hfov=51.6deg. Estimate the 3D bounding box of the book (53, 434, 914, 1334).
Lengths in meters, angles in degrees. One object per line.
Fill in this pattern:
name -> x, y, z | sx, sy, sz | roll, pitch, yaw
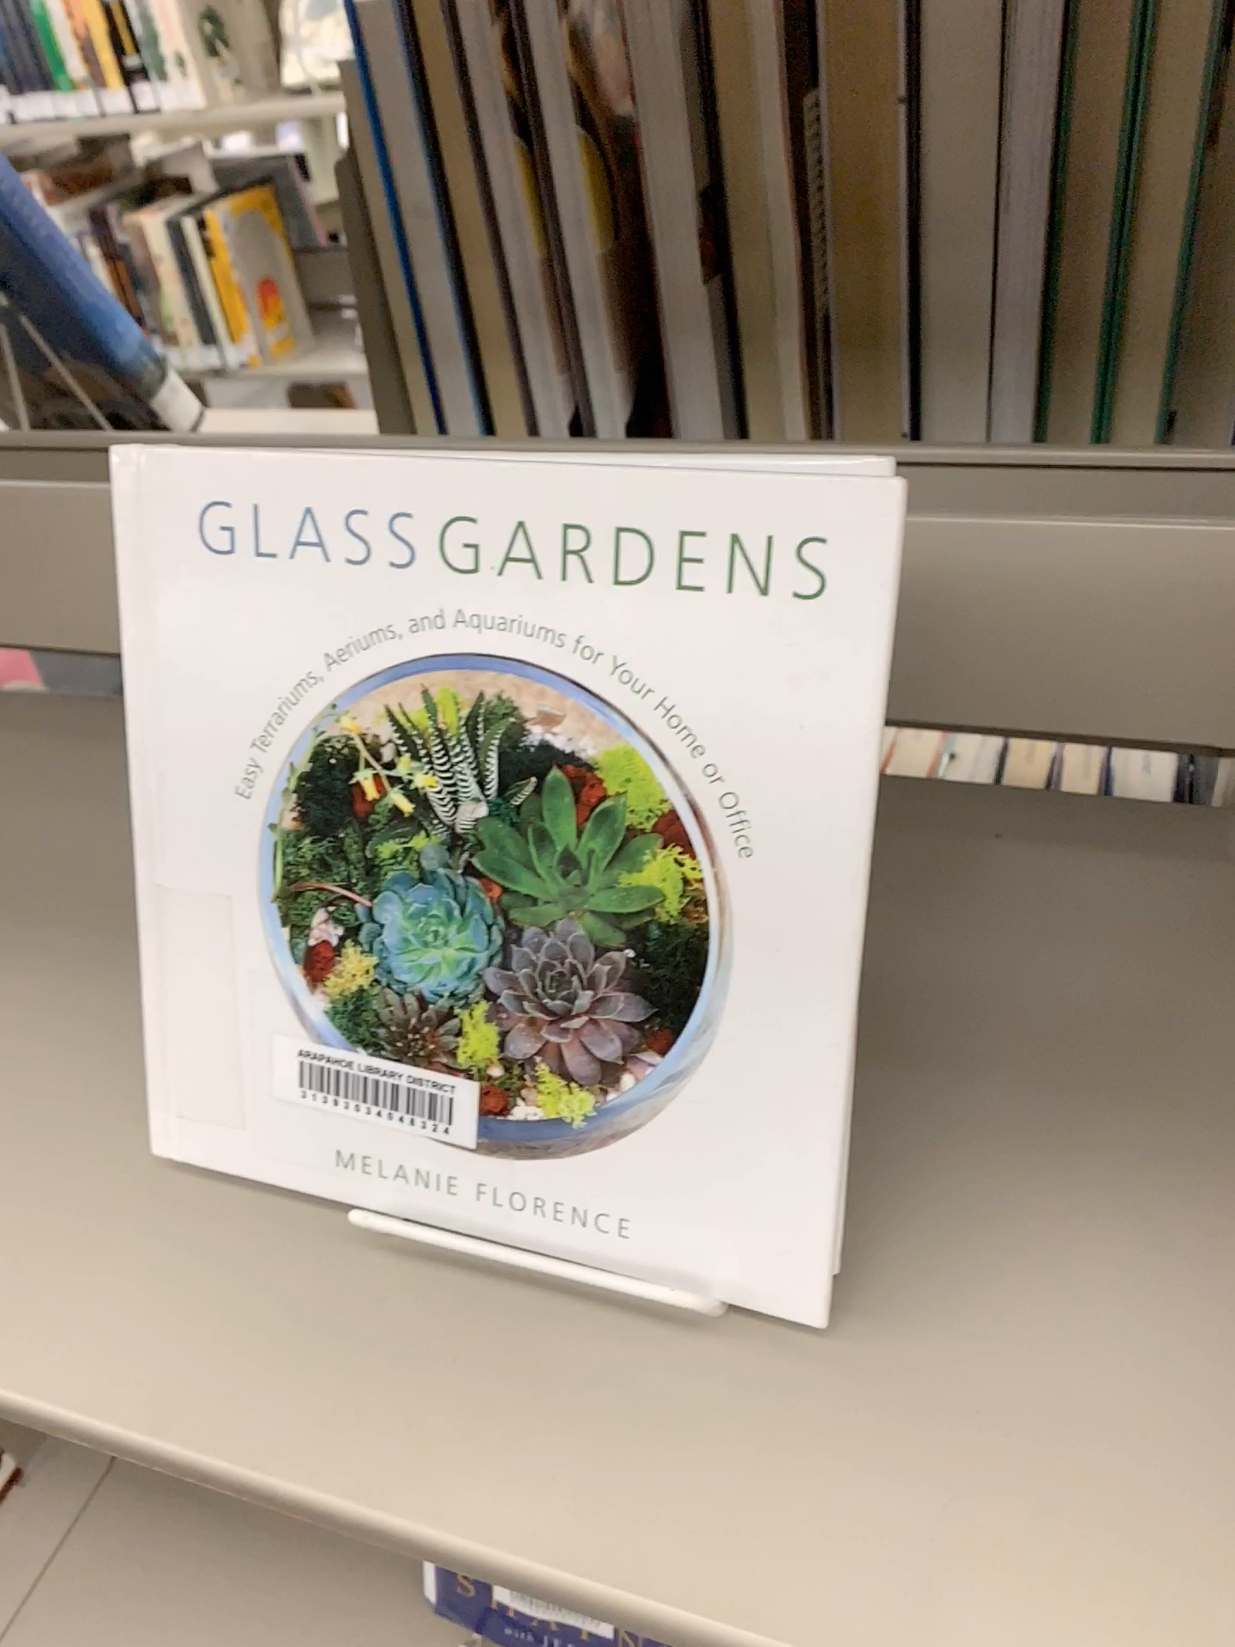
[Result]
book -> -0.035, 0.006, 0.283 | 0.180, 0.174, 0.030 | 7, 16, 20
